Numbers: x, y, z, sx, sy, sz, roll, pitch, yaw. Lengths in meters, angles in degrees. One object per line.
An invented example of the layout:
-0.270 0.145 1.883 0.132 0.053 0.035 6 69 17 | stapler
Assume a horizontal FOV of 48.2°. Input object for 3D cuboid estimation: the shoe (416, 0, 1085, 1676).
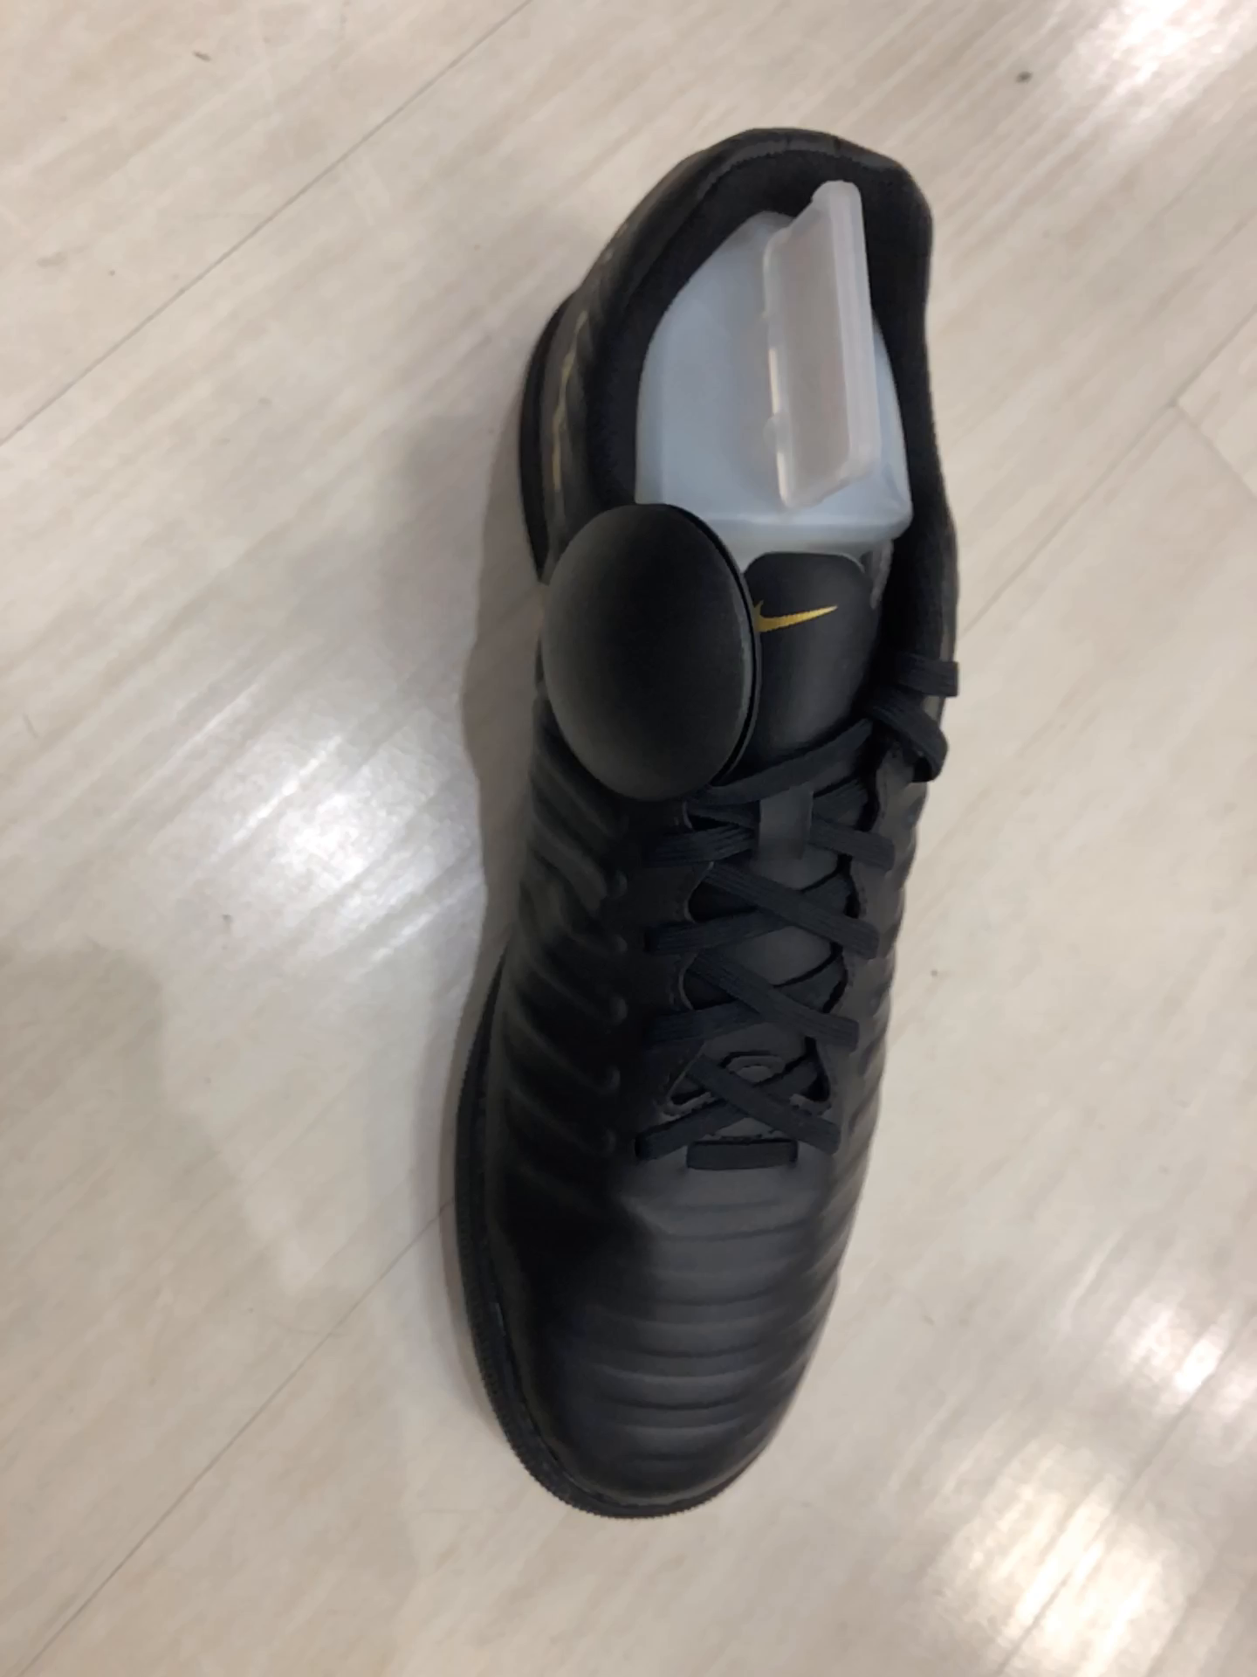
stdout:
0.018 0.004 0.289 0.100 0.110 0.290 2 86 -16 | shoe
